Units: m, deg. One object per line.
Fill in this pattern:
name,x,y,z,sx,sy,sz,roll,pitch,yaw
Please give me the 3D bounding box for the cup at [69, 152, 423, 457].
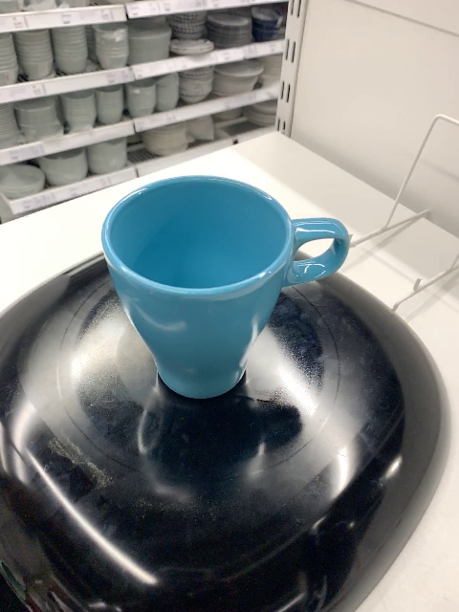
cup,0.000,-0.007,0.256,0.140,0.100,0.100,-12,47,-16
